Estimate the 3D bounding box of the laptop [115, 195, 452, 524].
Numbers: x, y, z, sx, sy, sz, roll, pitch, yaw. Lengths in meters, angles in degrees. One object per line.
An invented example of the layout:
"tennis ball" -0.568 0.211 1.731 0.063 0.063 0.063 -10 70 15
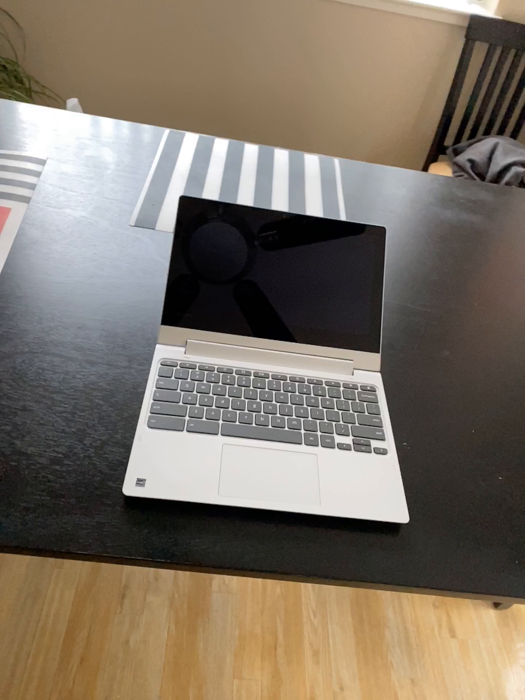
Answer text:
"laptop" 0.016 -0.015 0.616 0.285 0.106 0.382 7 44 -6
